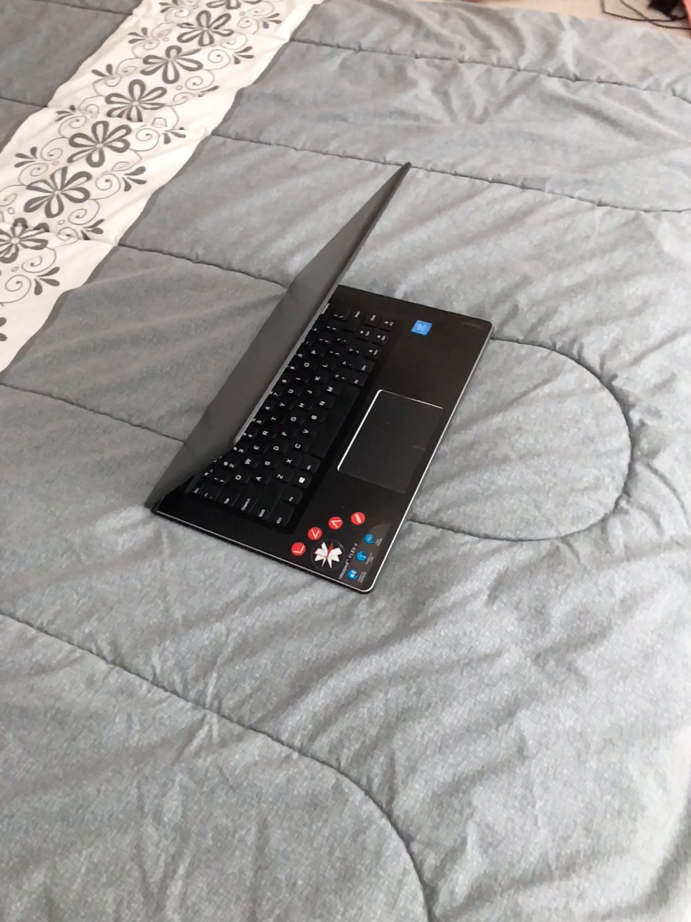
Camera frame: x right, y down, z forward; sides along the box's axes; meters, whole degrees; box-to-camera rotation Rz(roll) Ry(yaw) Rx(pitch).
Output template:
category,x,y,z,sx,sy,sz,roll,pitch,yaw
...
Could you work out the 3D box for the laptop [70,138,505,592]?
category,x,y,z,sx,sy,sz,roll,pitch,yaw
laptop,-0.025,-0.091,0.638,0.215,0.168,0.305,18,60,18
